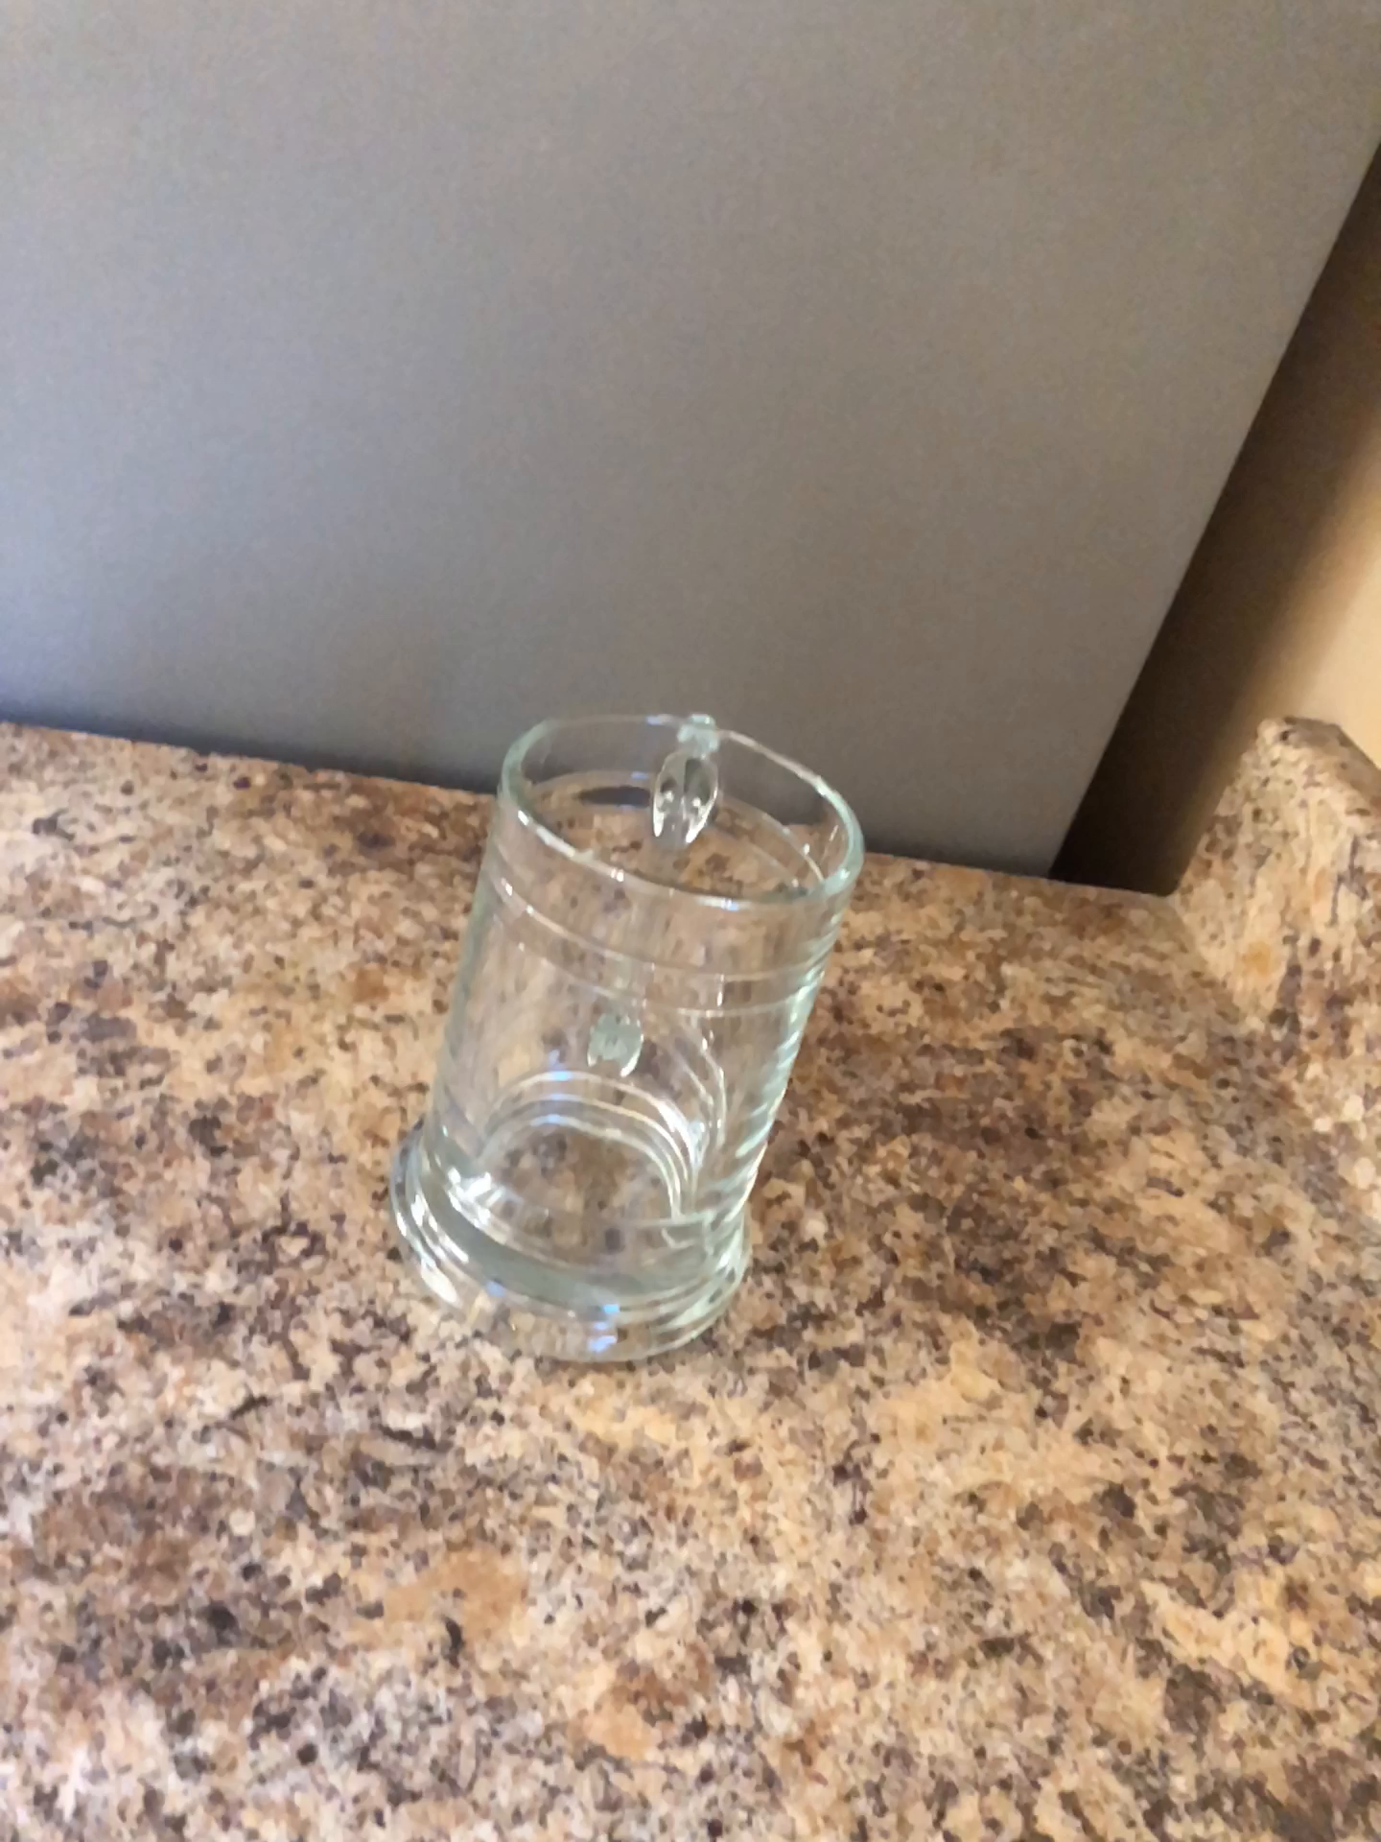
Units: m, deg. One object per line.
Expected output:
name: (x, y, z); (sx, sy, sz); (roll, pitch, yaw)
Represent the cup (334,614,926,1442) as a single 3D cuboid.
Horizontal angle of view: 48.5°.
cup: (-0.012, 0.022, 0.391); (0.100, 0.139, 0.131); (17, 32, 0)
